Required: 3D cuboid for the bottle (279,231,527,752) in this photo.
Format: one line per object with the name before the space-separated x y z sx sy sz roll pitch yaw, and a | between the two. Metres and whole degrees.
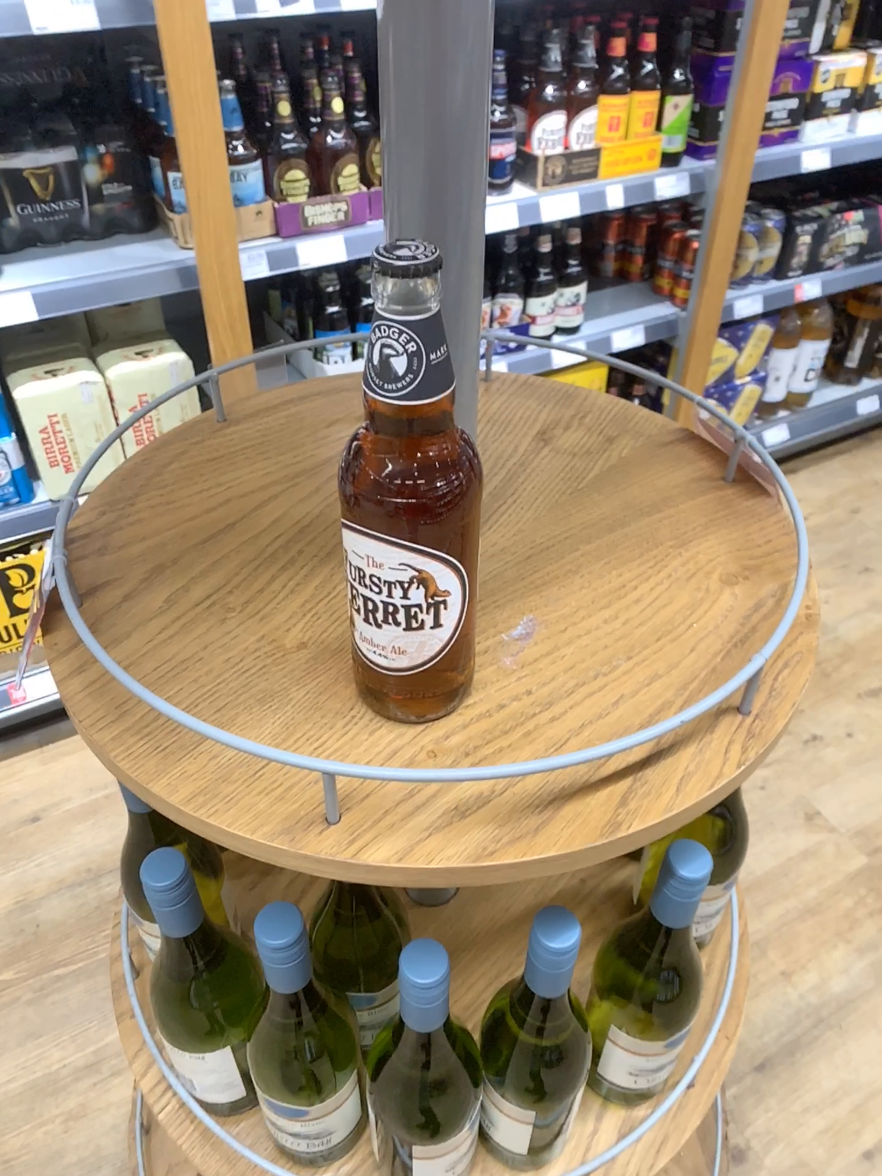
bottle | -0.014 -0.036 0.432 0.069 0.231 0.076 21 44 22
